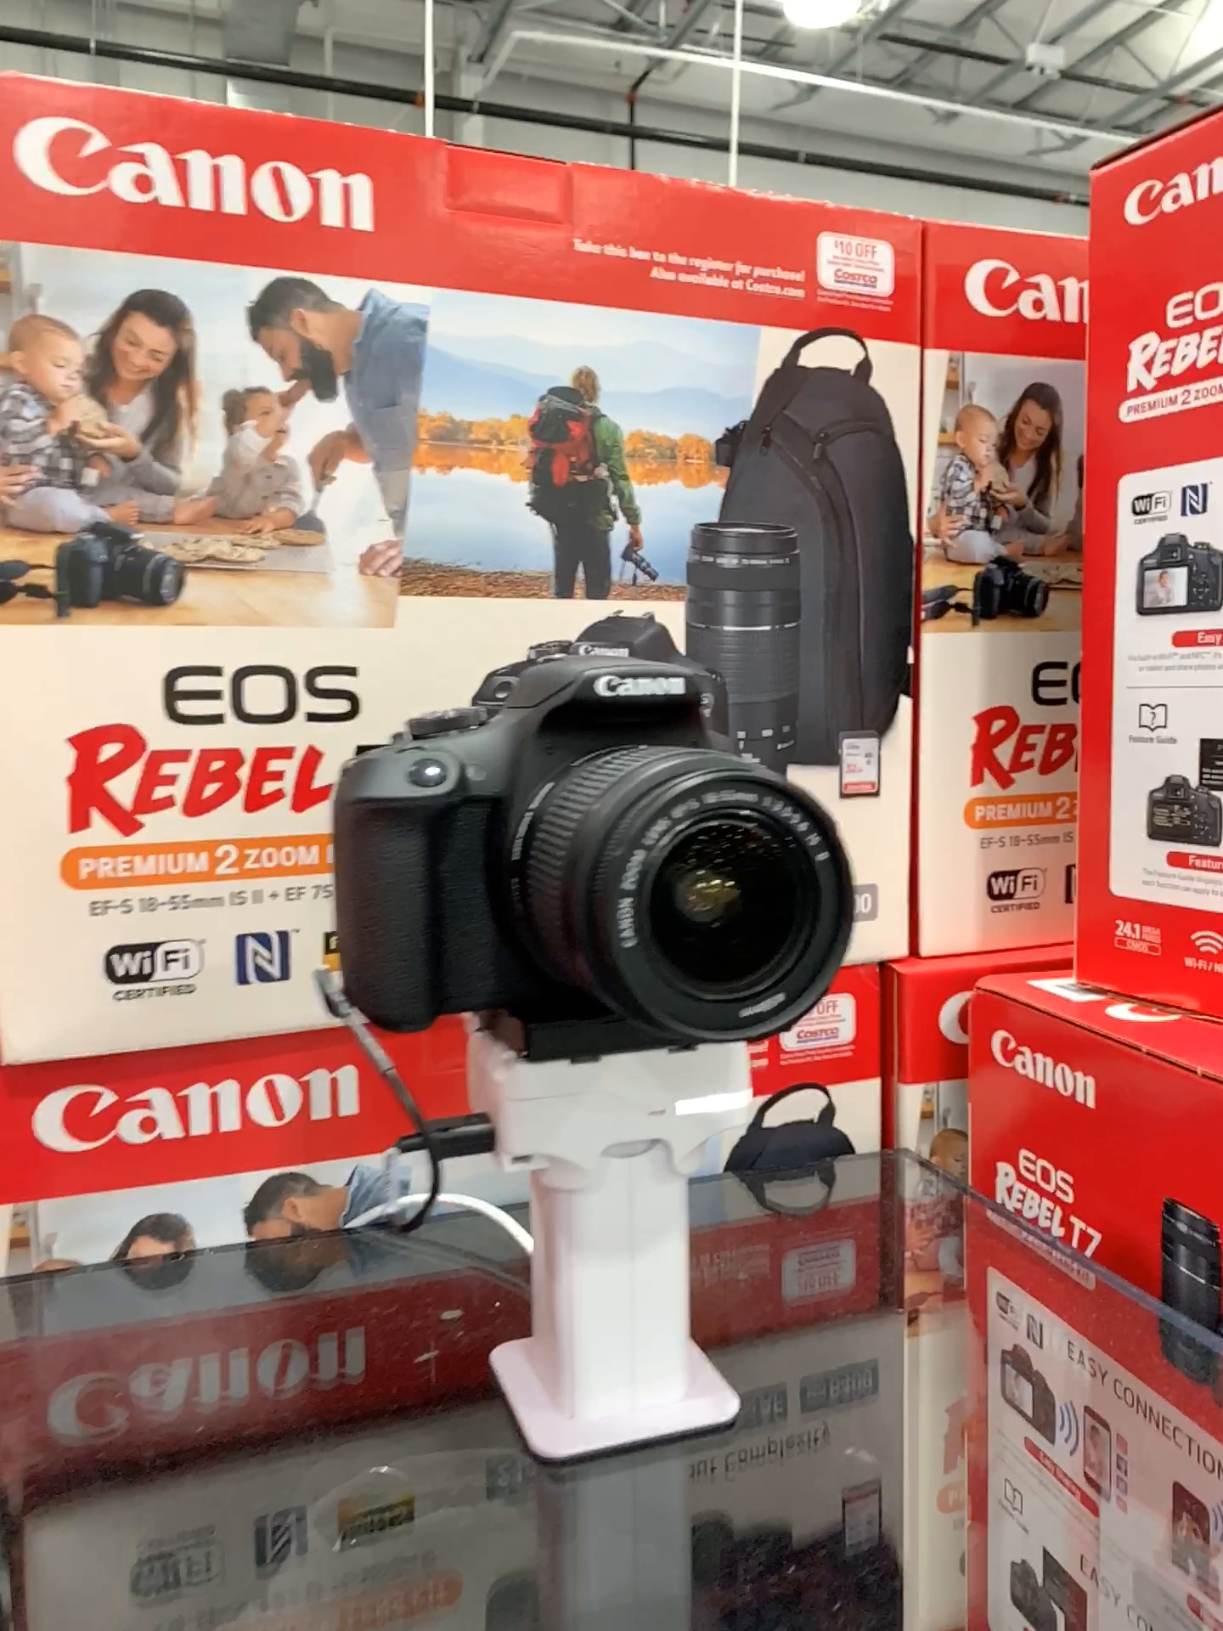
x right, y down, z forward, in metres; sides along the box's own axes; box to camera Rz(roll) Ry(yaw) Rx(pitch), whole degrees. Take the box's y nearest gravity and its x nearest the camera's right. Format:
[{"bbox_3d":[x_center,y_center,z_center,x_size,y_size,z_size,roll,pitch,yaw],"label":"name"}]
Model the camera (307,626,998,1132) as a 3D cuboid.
[{"bbox_3d":[-0.004,0.003,0.343,0.140,0.100,0.160,-2,6,-18],"label":"camera"}]
